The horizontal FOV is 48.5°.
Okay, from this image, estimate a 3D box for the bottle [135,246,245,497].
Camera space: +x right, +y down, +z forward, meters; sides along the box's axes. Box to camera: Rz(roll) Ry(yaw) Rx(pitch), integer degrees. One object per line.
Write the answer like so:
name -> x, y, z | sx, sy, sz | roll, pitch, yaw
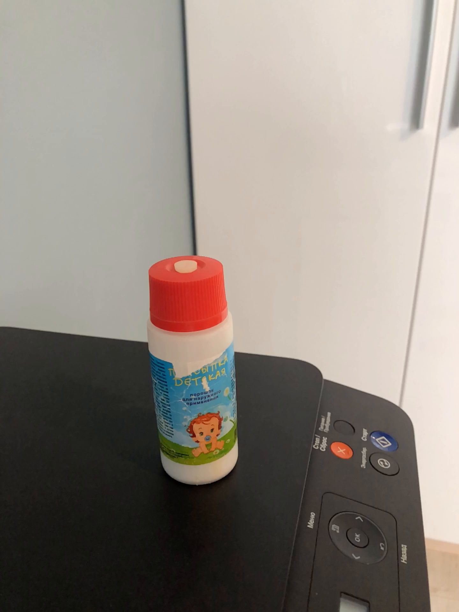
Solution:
bottle -> -0.019, 0.032, 0.257 | 0.042, 0.112, 0.044 | -1, 23, 0
